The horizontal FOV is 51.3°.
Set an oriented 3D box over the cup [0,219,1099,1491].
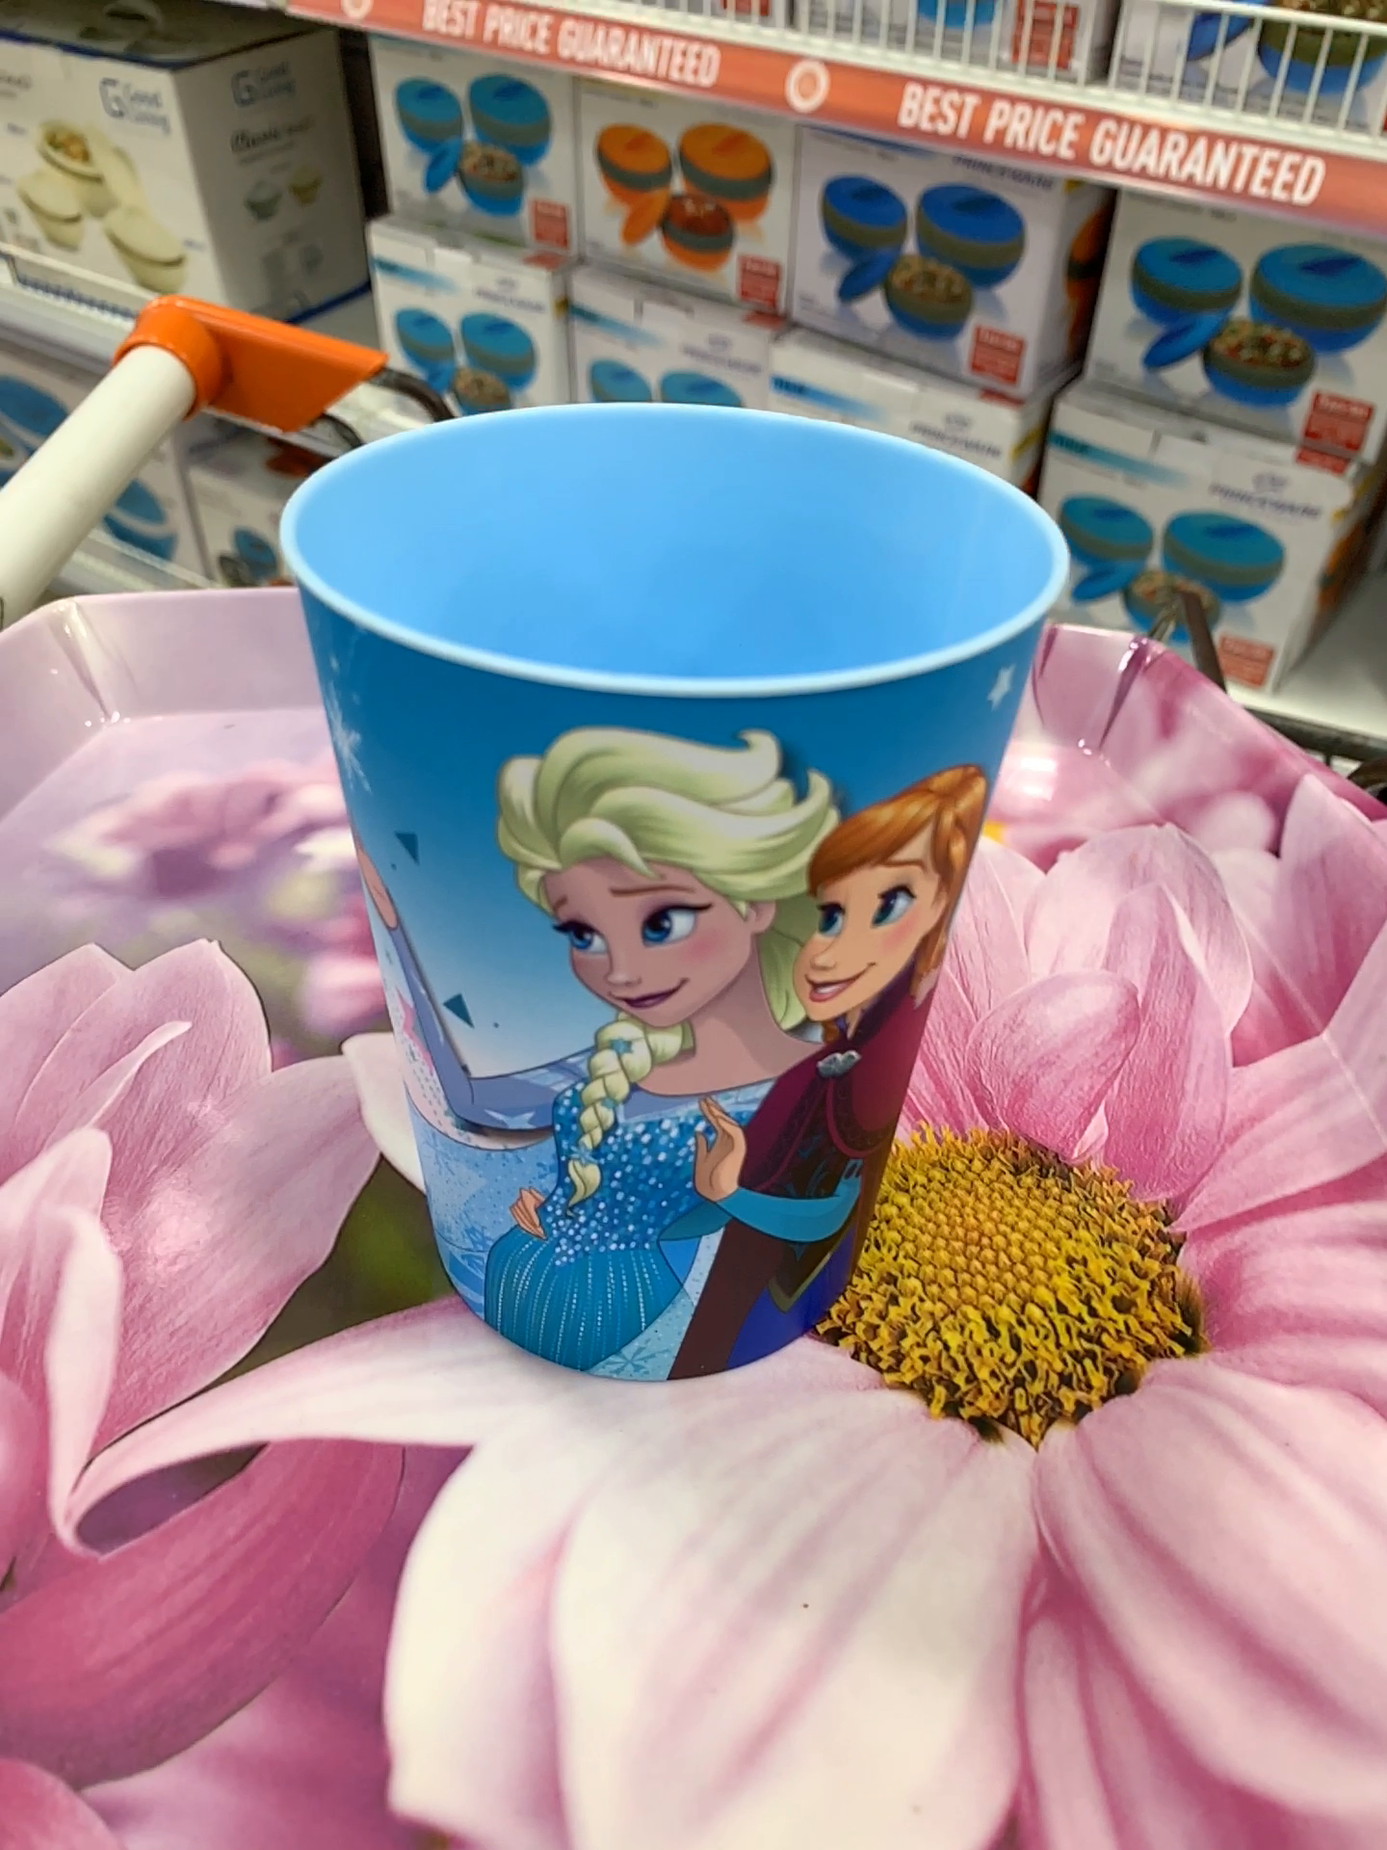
[{"bbox_3d":[-0.012,-0.007,0.160,0.080,0.109,0.060,16,42,18],"label":"cup"}]
